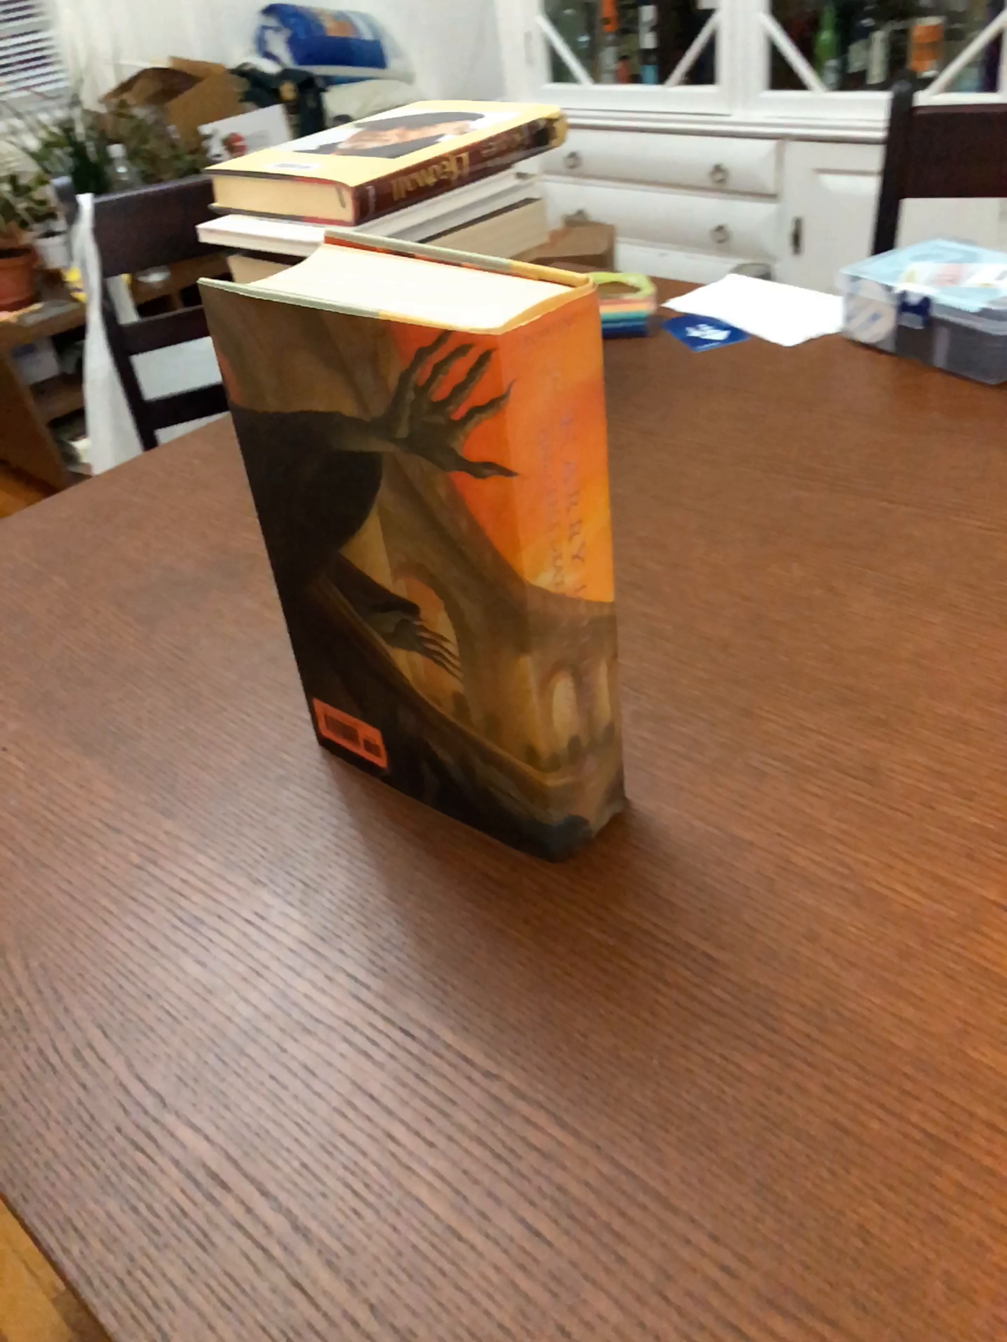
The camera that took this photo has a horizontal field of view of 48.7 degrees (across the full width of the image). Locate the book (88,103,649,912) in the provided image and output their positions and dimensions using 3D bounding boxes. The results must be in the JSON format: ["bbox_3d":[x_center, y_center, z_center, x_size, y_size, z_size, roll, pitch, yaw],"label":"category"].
[{"bbox_3d":[-0.048,-0.070,0.478,0.211,0.298,0.070,25,46,38],"label":"book"}]
